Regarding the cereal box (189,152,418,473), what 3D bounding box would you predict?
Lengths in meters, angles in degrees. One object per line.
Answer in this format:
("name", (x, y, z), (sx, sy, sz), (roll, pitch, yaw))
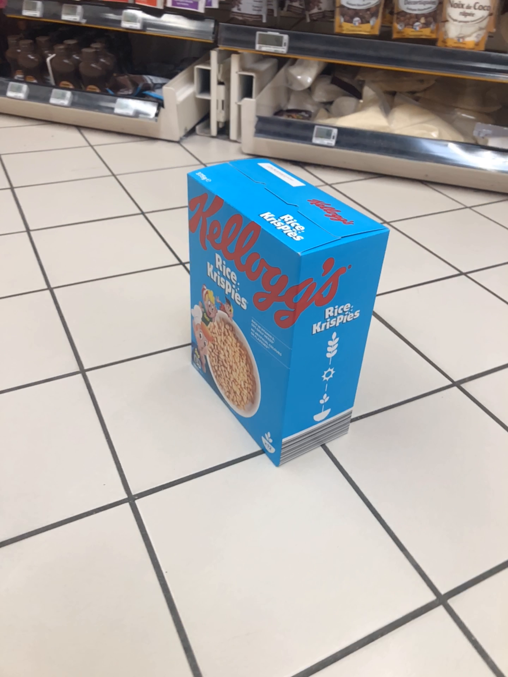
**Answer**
("cereal box", (0.029, -0.033, 0.568), (0.110, 0.239, 0.201), (-17, 41, -26))
